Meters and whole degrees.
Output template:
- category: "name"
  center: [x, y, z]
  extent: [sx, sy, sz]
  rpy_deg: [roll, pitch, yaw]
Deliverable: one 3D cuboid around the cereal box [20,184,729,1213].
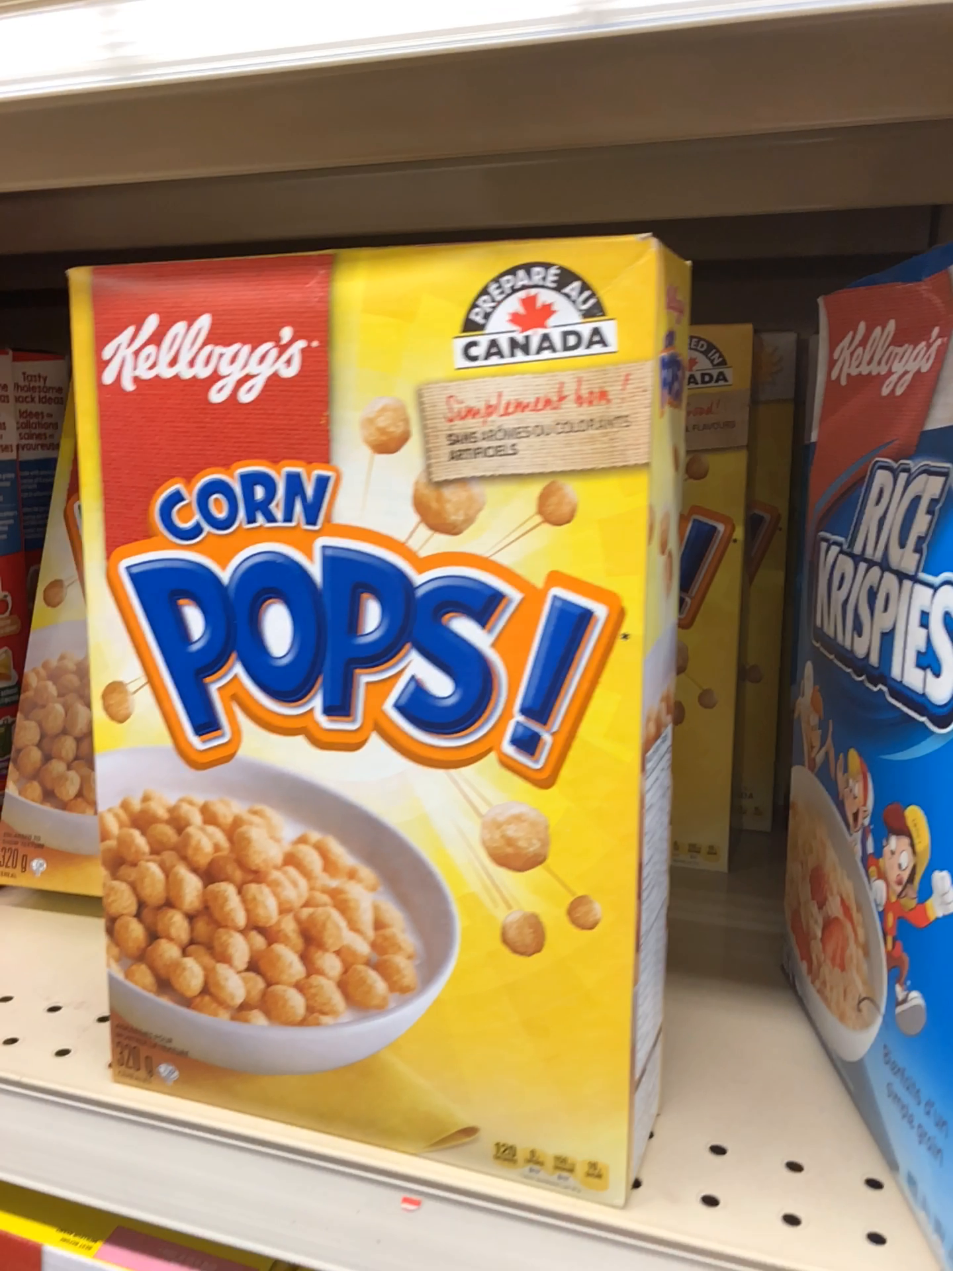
- category: "cereal box"
  center: [-0.033, 0.017, 0.350]
  extent: [0.210, 0.289, 0.060]
  rpy_deg: [4, 12, 20]
